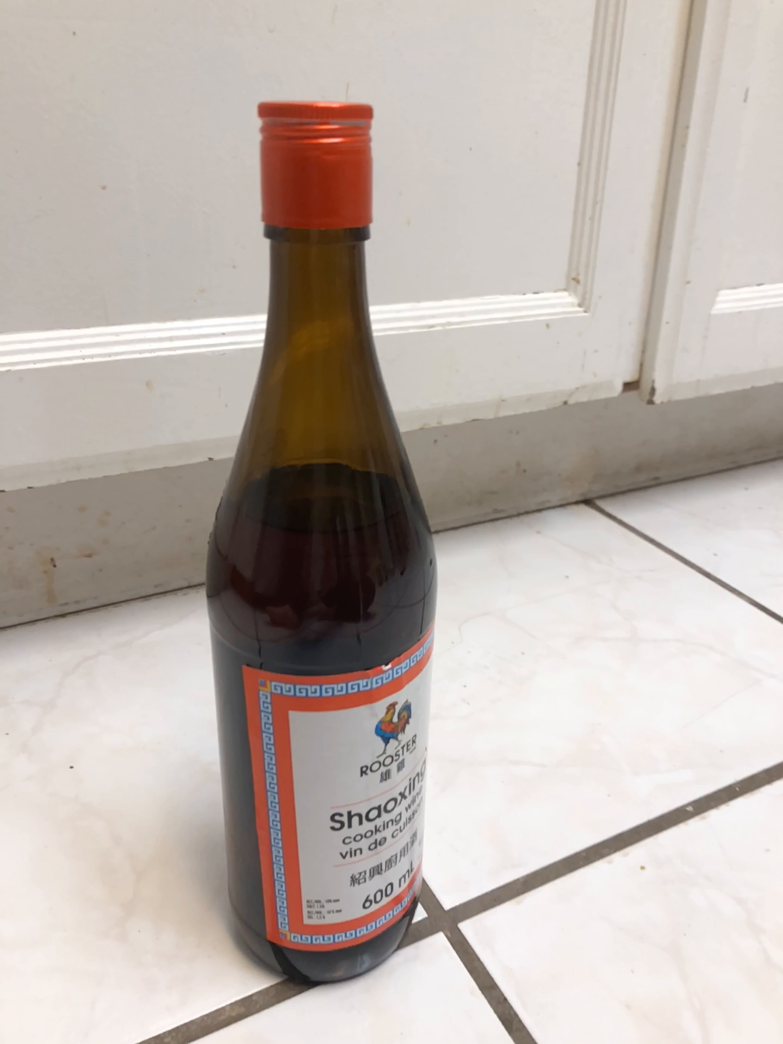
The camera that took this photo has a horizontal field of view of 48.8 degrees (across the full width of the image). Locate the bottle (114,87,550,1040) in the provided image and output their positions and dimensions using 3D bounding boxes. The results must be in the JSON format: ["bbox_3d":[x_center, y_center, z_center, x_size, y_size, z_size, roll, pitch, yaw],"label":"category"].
[{"bbox_3d":[-0.019,0.021,0.271,0.080,0.278,0.070,-22,34,-40],"label":"bottle"}]
